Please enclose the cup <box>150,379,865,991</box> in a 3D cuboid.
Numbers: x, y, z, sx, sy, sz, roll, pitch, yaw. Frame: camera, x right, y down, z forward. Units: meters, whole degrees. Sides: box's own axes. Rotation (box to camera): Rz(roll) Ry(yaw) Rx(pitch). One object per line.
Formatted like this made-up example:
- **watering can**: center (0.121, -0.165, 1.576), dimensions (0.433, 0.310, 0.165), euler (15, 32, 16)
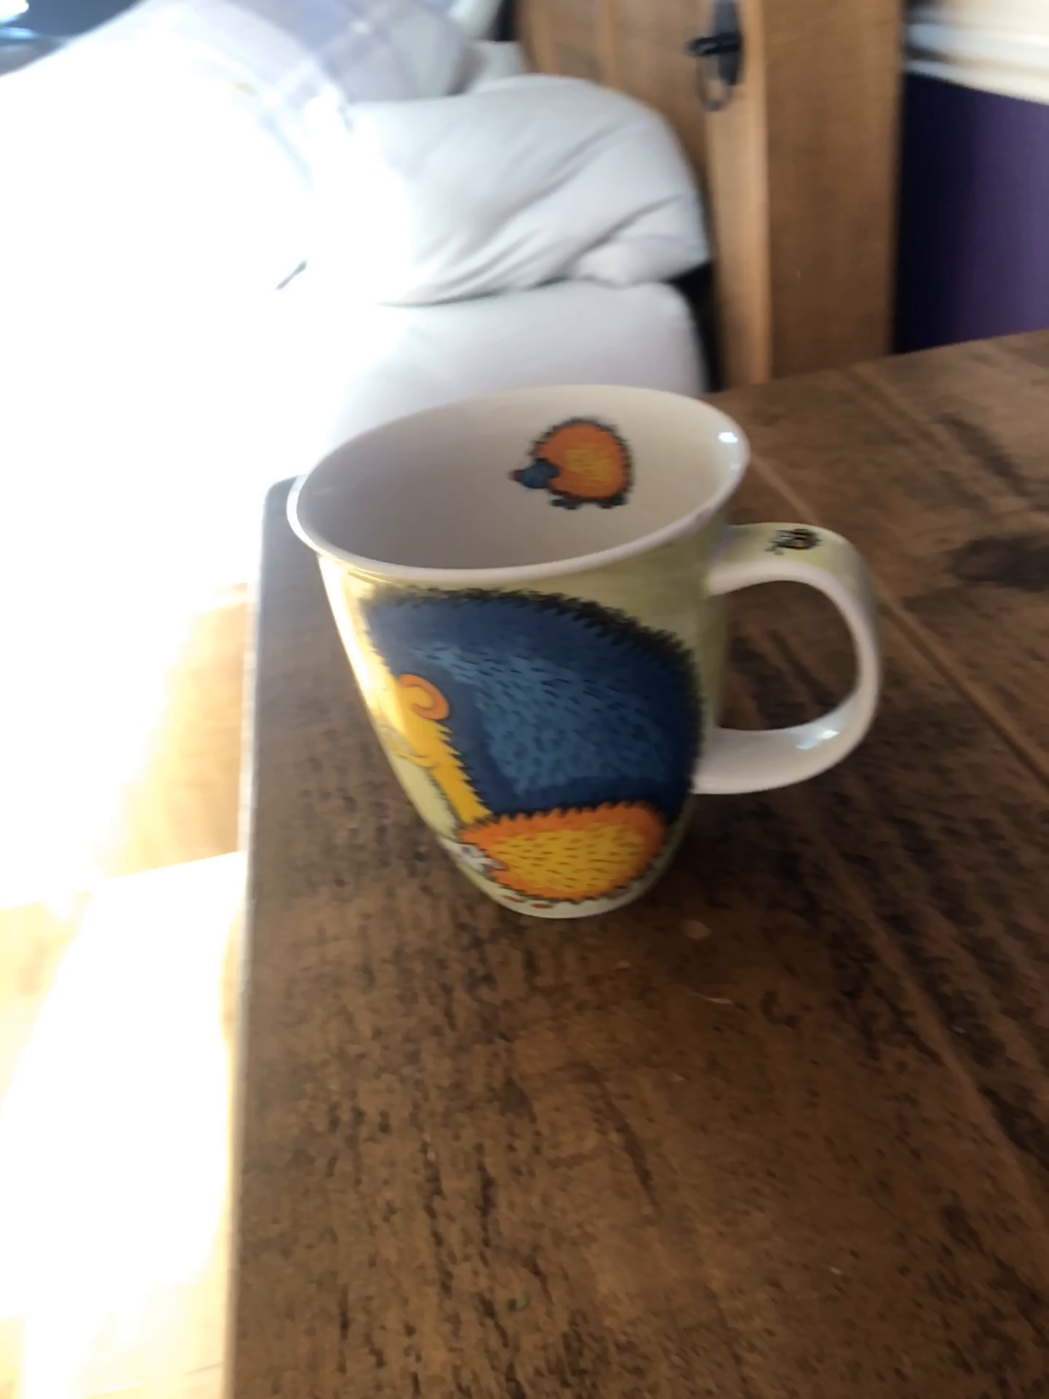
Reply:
- **cup**: center (0.008, -0.013, 0.276), dimensions (0.127, 0.089, 0.107), euler (5, 35, 19)
